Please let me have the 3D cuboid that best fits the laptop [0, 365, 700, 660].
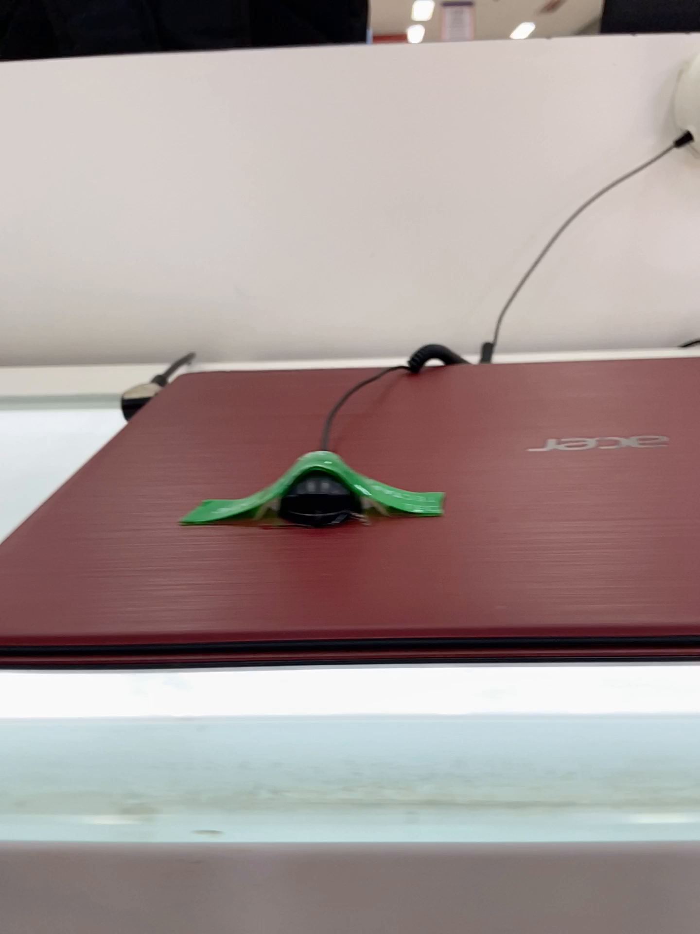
[{"bbox_3d":[0.090,-0.006,0.285,0.367,0.006,0.263,-1,20,2],"label":"laptop"}]
